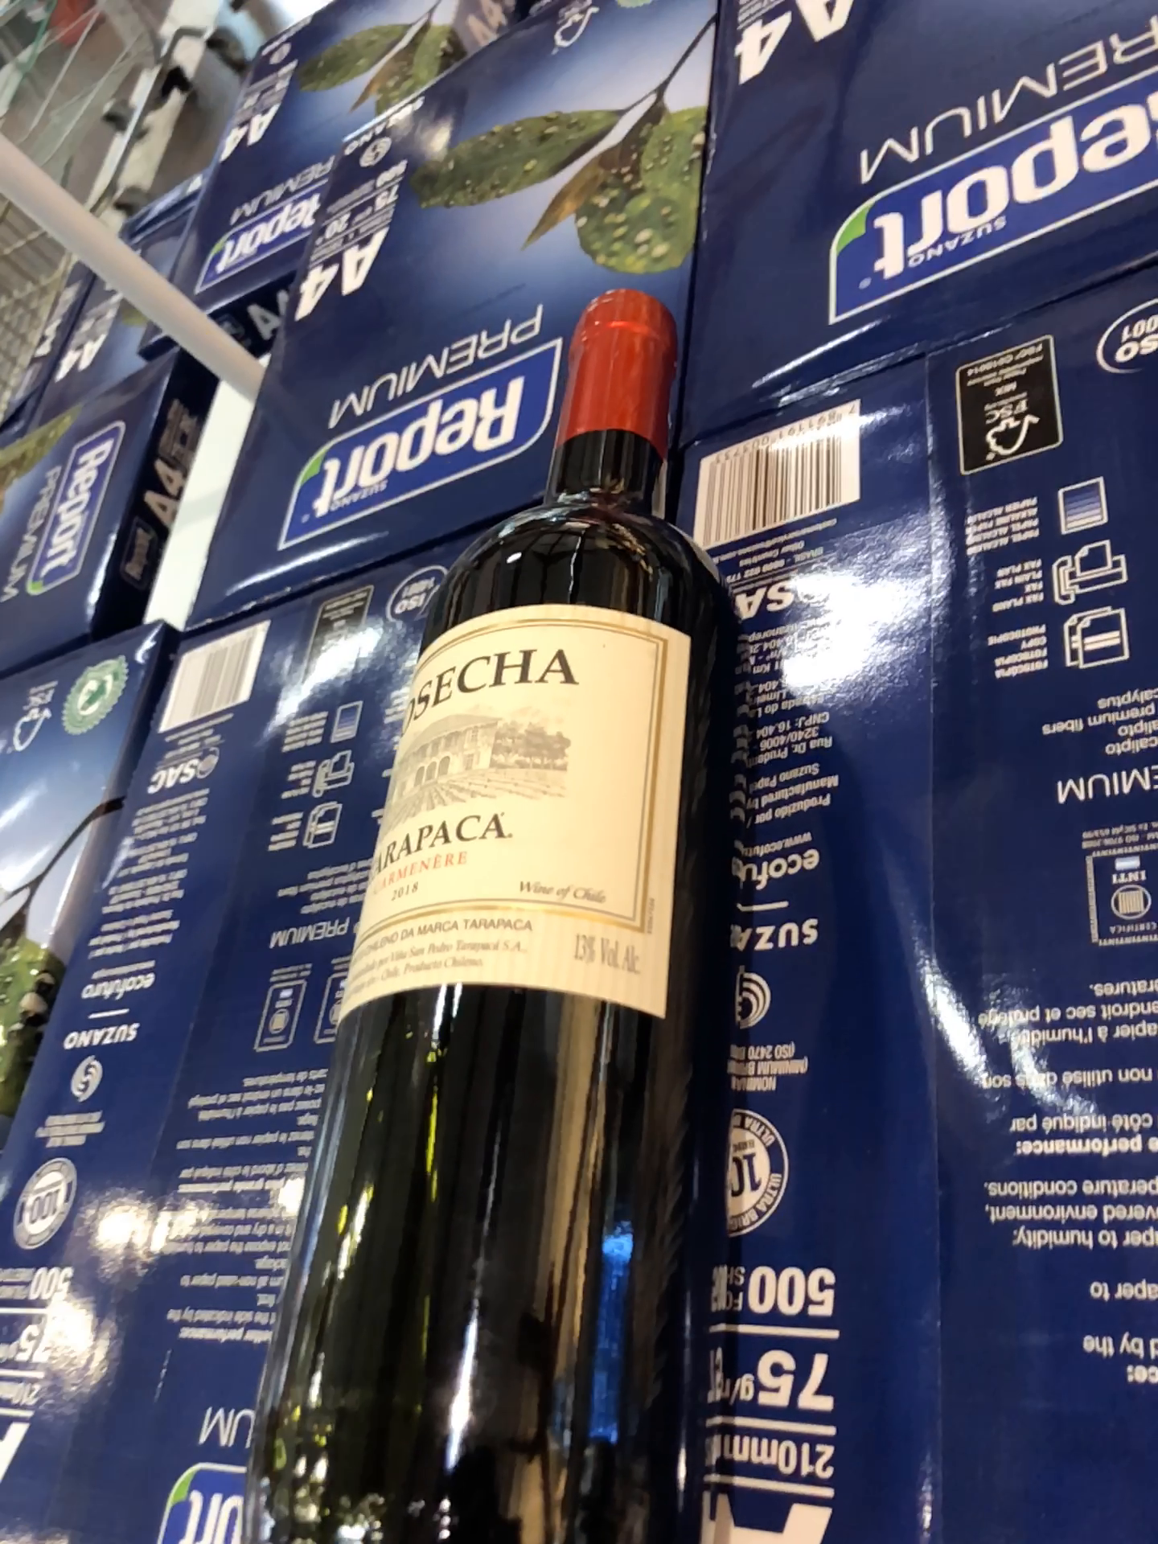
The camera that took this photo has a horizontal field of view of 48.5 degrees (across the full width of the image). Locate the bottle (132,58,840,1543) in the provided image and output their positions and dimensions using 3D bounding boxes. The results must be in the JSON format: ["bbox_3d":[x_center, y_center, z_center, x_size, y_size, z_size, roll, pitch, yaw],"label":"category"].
[{"bbox_3d":[0.004,-0.016,0.272,0.080,0.060,0.331,-14,51,31],"label":"bottle"}]
